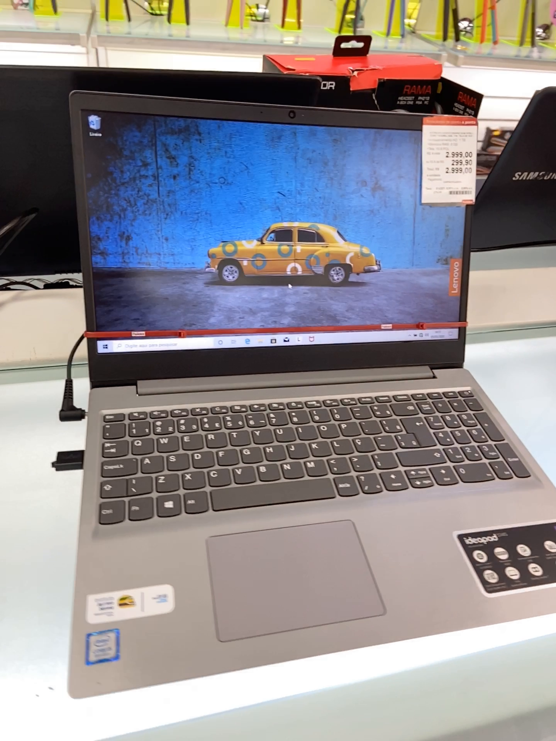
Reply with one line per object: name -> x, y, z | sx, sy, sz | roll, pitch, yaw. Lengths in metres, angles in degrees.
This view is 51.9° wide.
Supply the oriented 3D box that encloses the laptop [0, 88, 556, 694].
laptop -> 0.035, -0.038, 0.429 | 0.368, 0.209, 0.381 | -3, 39, -13
